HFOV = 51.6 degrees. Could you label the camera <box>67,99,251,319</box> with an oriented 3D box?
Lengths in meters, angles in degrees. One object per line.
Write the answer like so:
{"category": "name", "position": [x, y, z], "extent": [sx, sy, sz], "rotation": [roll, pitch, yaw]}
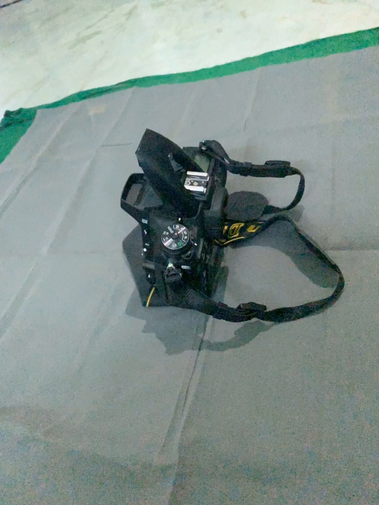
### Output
{"category": "camera", "position": [-0.010, -0.039, 0.350], "extent": [0.101, 0.125, 0.140], "rotation": [3, 51, 18]}
